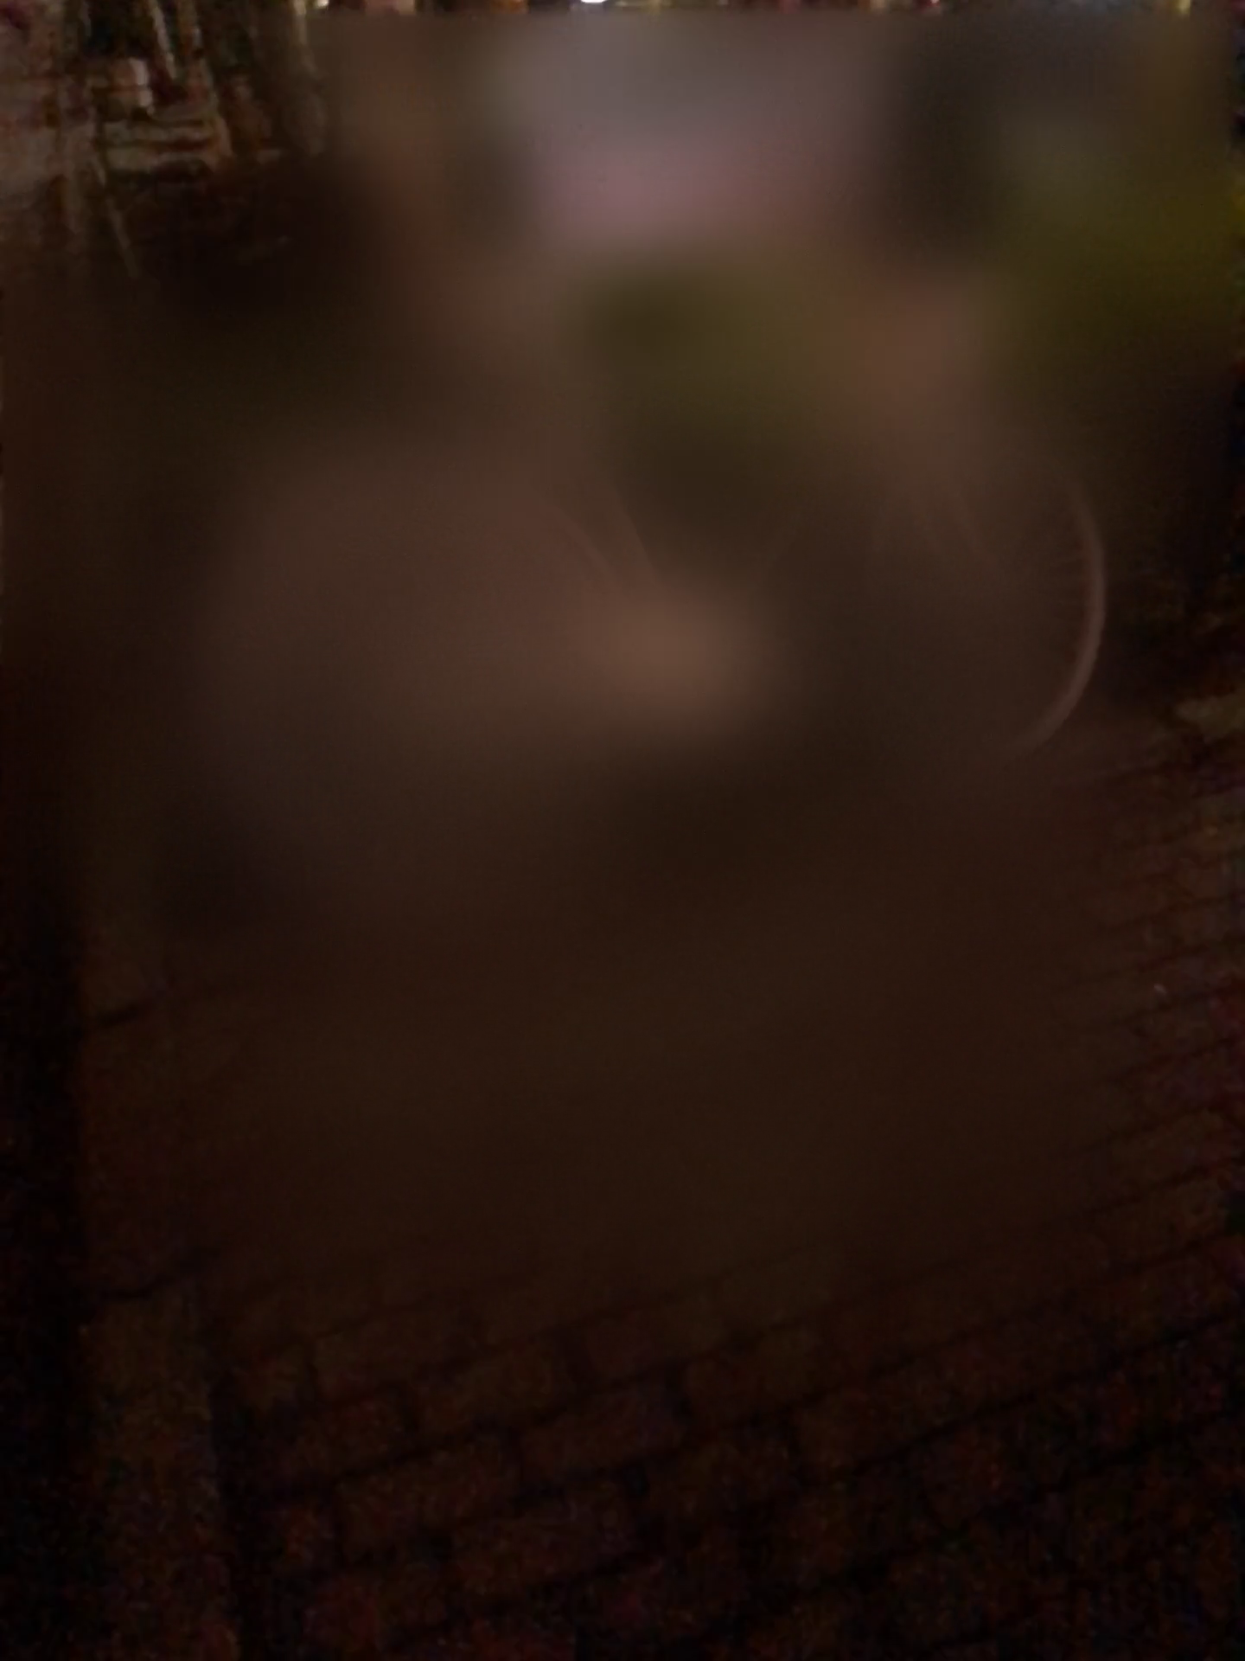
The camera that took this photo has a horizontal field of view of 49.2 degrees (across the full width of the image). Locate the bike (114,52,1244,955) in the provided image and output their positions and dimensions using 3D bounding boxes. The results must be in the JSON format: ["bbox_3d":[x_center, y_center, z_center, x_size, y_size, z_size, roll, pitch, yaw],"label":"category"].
[{"bbox_3d":[0.121,-0.684,2.536,1.829,1.118,0.609,-17,34,-18],"label":"bike"}]
